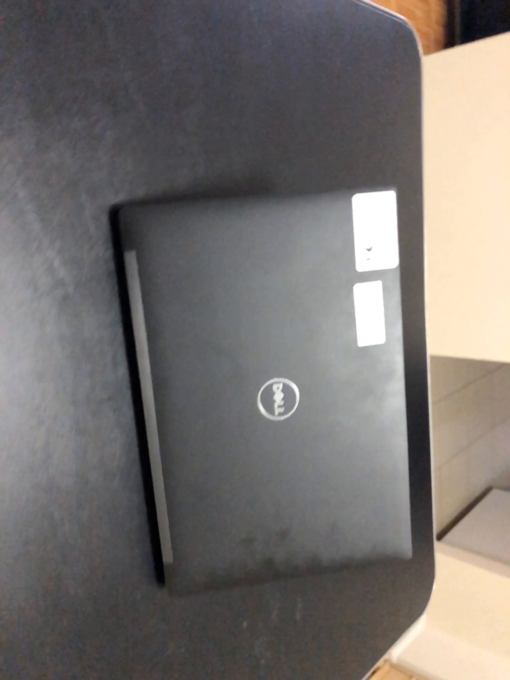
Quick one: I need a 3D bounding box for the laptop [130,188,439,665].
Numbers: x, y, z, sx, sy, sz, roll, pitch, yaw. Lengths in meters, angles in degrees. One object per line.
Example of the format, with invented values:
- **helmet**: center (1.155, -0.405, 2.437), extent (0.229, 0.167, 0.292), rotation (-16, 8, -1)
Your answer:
- **laptop**: center (0.041, 0.041, 0.491), extent (0.221, 0.142, 0.318), rotation (-15, 105, -45)
